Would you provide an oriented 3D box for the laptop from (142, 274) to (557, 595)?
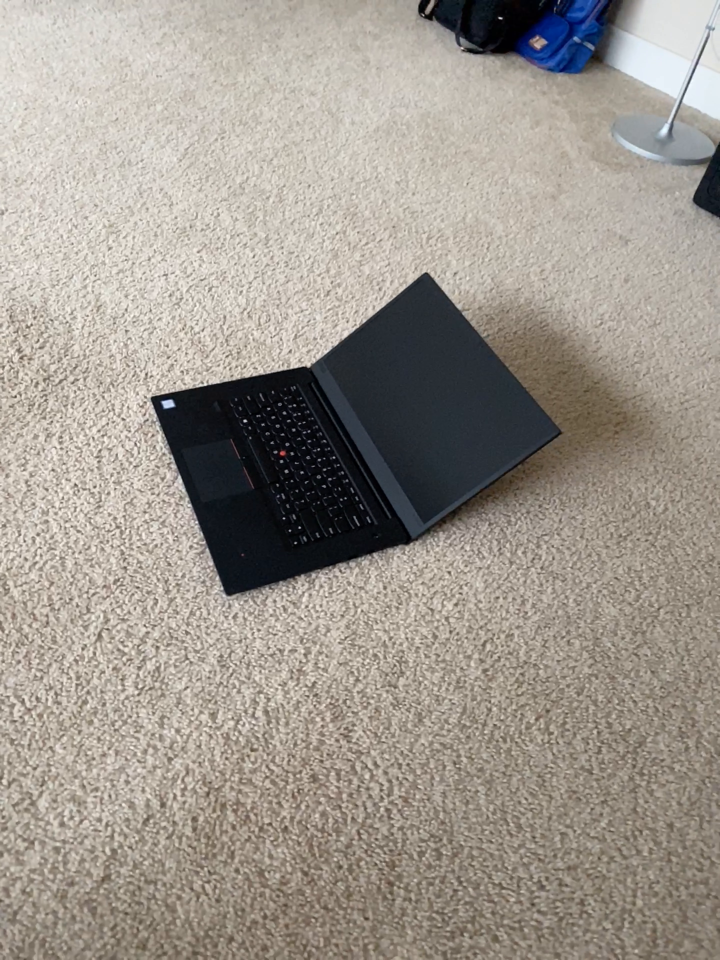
[{"bbox_3d":[-0.029,-0.090,0.997,0.433,0.141,0.361,-15,53,-20],"label":"laptop"}]
